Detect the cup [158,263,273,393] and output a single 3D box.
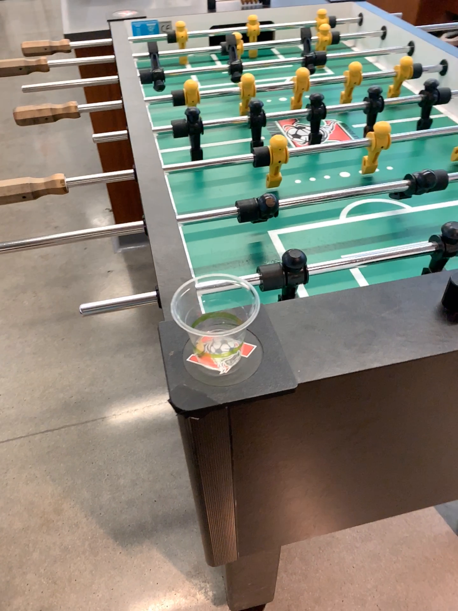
[{"bbox_3d":[-0.012,0.018,0.396,0.070,0.060,0.070,-1,44,1],"label":"cup"}]
